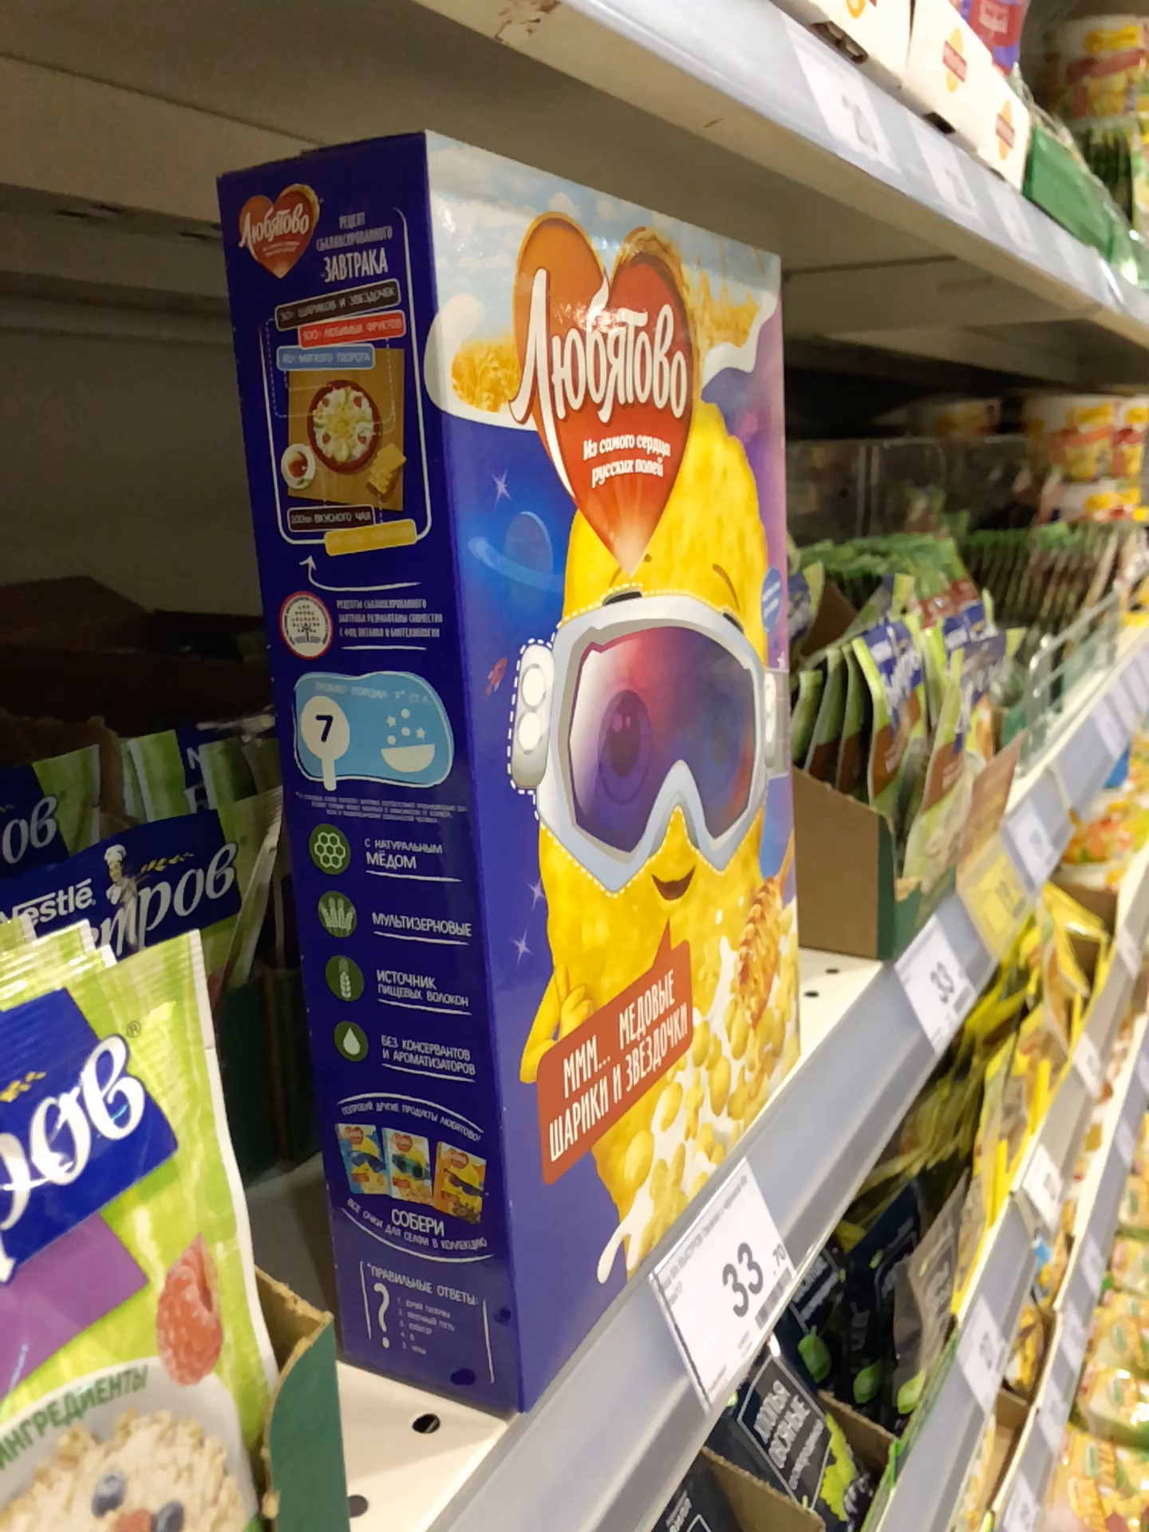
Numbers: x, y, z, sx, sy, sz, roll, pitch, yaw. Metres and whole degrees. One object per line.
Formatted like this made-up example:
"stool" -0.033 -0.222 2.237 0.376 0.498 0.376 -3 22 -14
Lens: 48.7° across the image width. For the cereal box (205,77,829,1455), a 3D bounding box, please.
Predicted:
"cereal box" 0.010 -0.009 0.331 0.050 0.259 0.201 3 14 28
